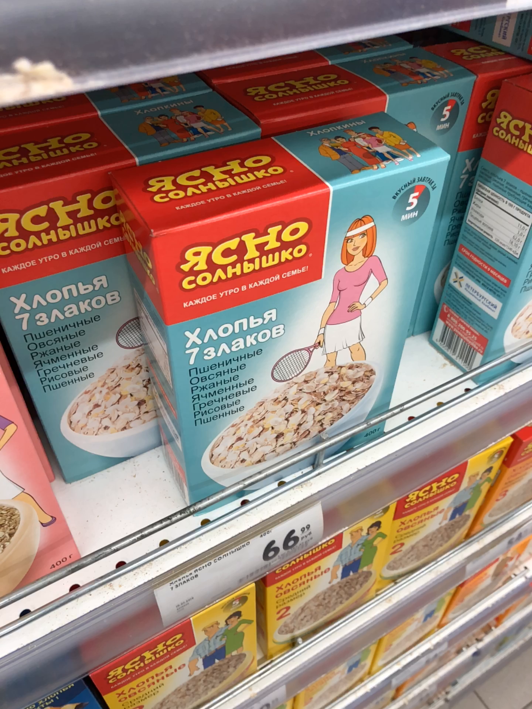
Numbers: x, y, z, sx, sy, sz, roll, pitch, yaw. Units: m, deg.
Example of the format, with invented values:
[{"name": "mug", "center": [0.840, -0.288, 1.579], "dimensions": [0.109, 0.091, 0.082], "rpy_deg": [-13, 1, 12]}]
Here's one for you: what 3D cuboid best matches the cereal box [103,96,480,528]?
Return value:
[{"name": "cereal box", "center": [0.012, -0.012, 0.295], "dimensions": [0.140, 0.189, 0.050], "rpy_deg": [-21, 48, -20]}]
